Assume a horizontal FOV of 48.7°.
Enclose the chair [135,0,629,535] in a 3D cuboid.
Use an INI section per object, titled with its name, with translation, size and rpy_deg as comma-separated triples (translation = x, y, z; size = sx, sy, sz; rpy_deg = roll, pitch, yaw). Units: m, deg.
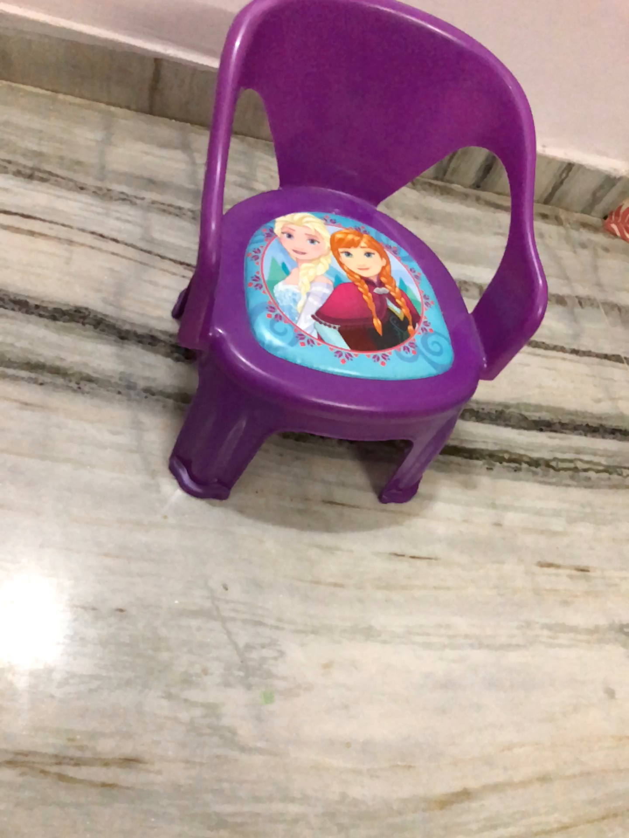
[chair]
translation = 0.035, -0.145, 0.689
size = 0.351, 0.348, 0.392
rpy_deg = 7, 56, -20
